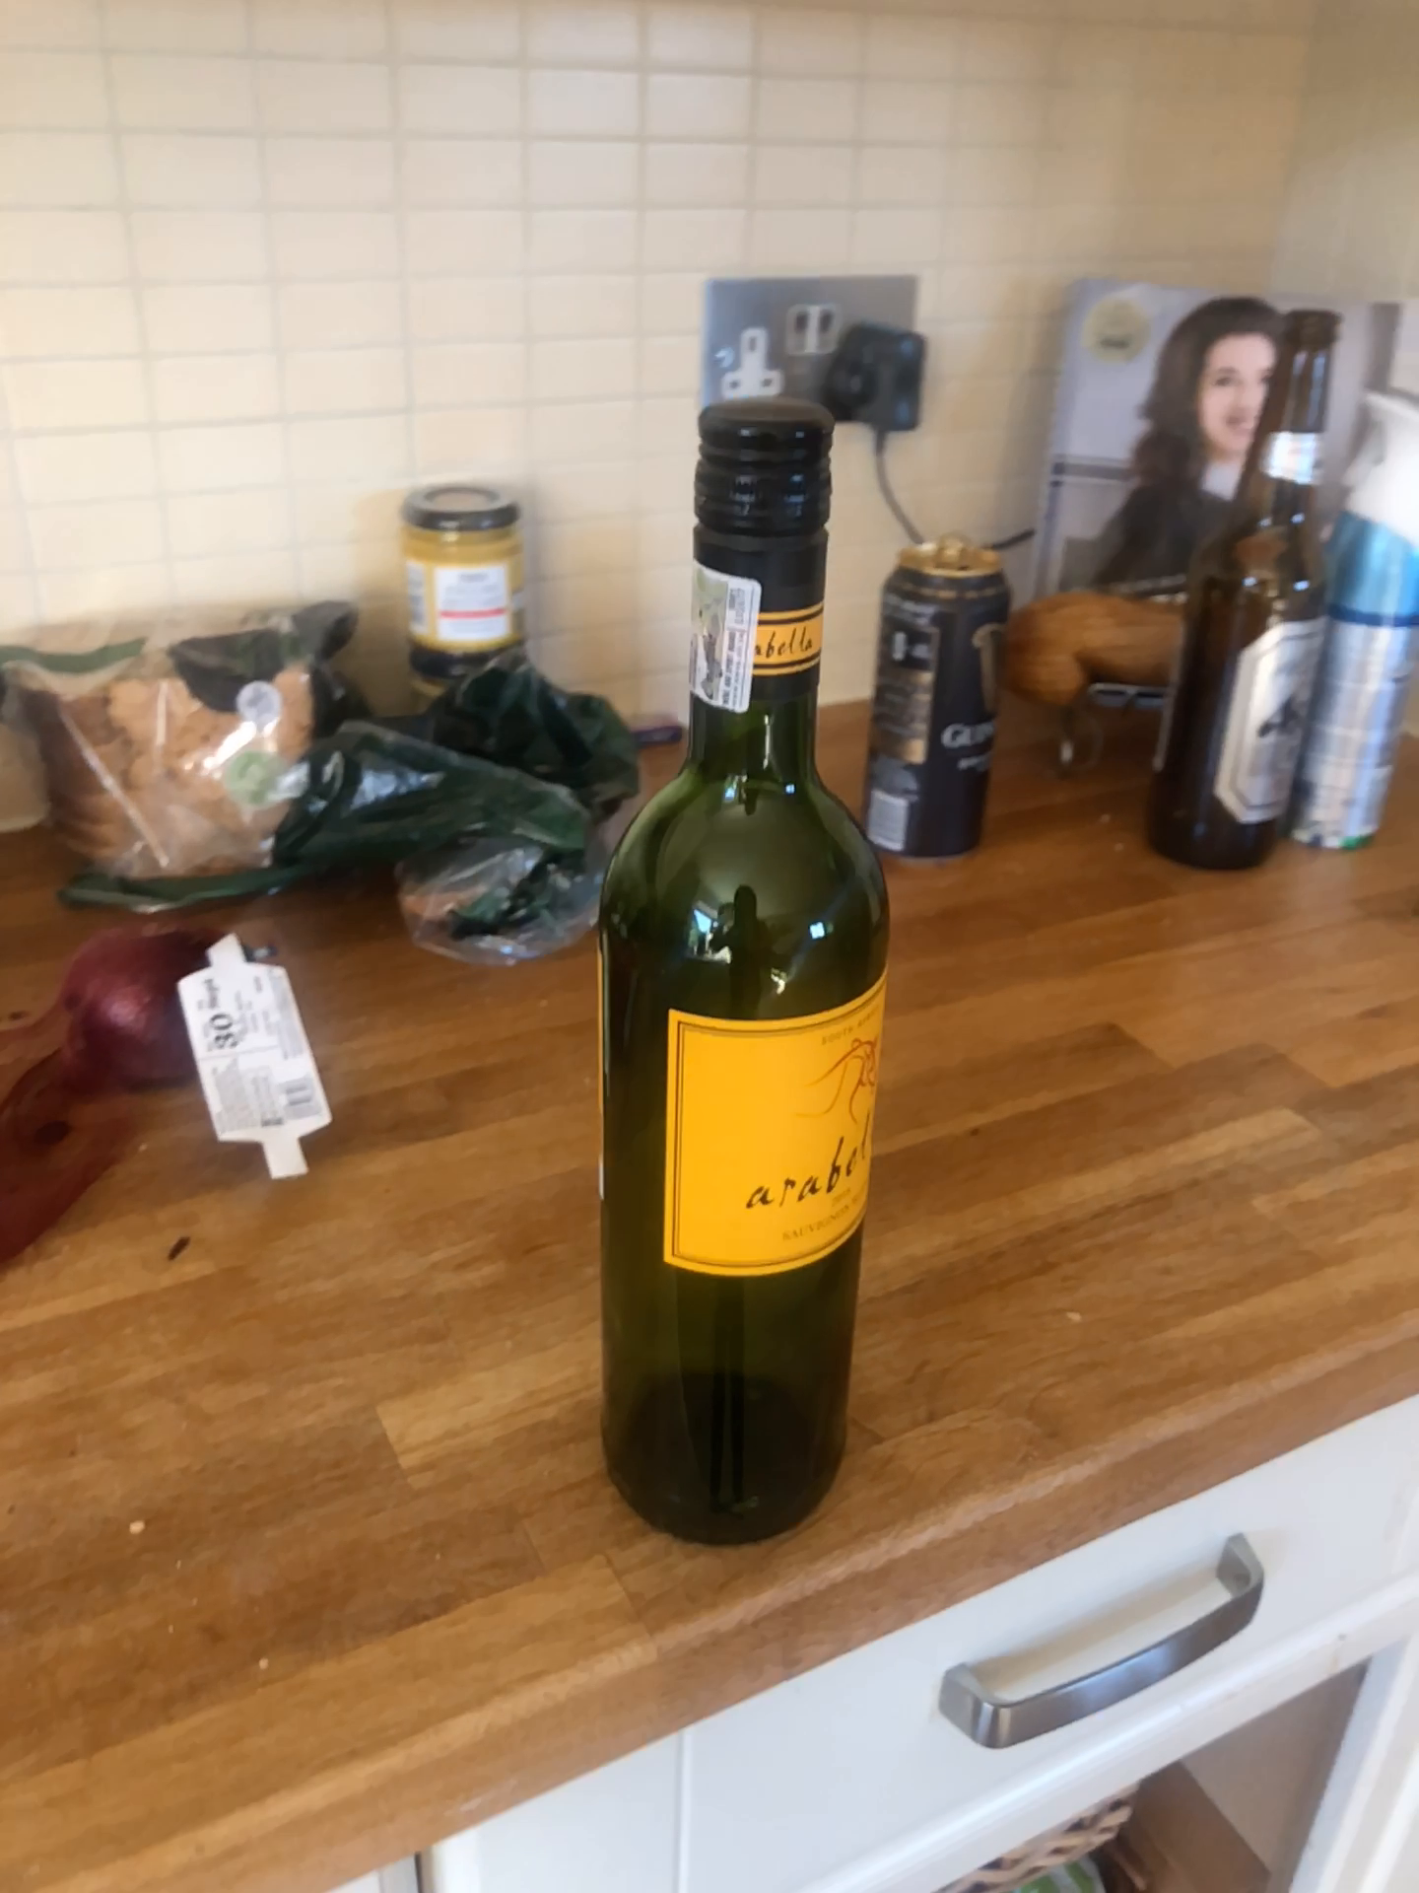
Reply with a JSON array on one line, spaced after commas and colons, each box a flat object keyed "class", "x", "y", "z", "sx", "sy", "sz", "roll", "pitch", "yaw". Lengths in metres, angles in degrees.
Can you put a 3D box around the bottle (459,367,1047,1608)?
[{"class": "bottle", "x": 0.004, "y": 0.016, "z": 0.409, "sx": 0.090, "sy": 0.298, "sz": 0.090, "roll": 2, "pitch": 28, "yaw": -1}]
